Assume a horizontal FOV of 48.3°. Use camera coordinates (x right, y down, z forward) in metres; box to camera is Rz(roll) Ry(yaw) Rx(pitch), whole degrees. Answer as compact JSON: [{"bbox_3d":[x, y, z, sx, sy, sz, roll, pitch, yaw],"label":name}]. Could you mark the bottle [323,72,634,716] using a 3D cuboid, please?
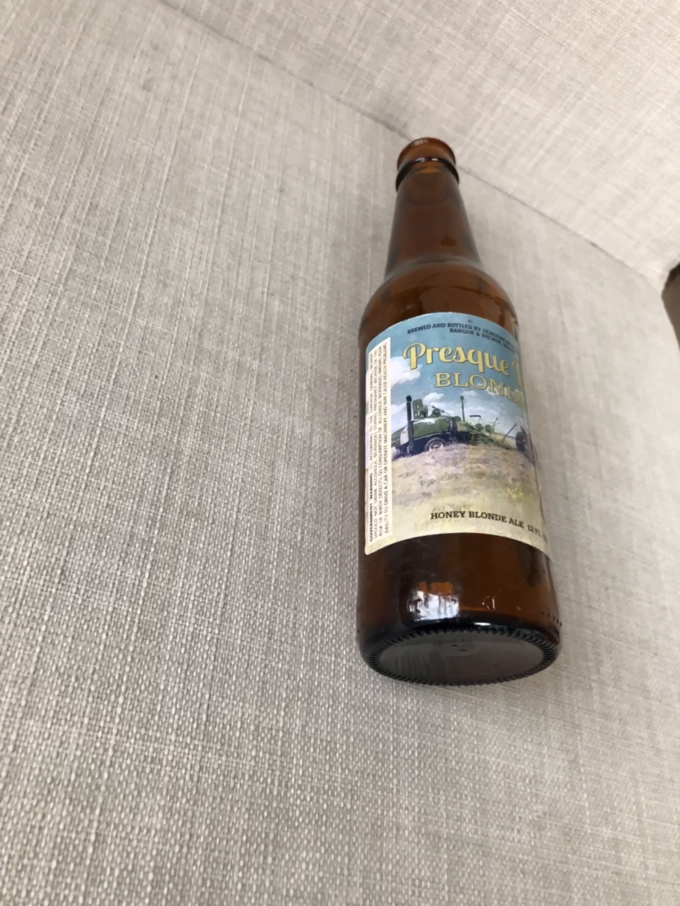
[{"bbox_3d":[0.039,-0.034,0.273,0.066,0.060,0.231,12,56,-14],"label":"bottle"}]
